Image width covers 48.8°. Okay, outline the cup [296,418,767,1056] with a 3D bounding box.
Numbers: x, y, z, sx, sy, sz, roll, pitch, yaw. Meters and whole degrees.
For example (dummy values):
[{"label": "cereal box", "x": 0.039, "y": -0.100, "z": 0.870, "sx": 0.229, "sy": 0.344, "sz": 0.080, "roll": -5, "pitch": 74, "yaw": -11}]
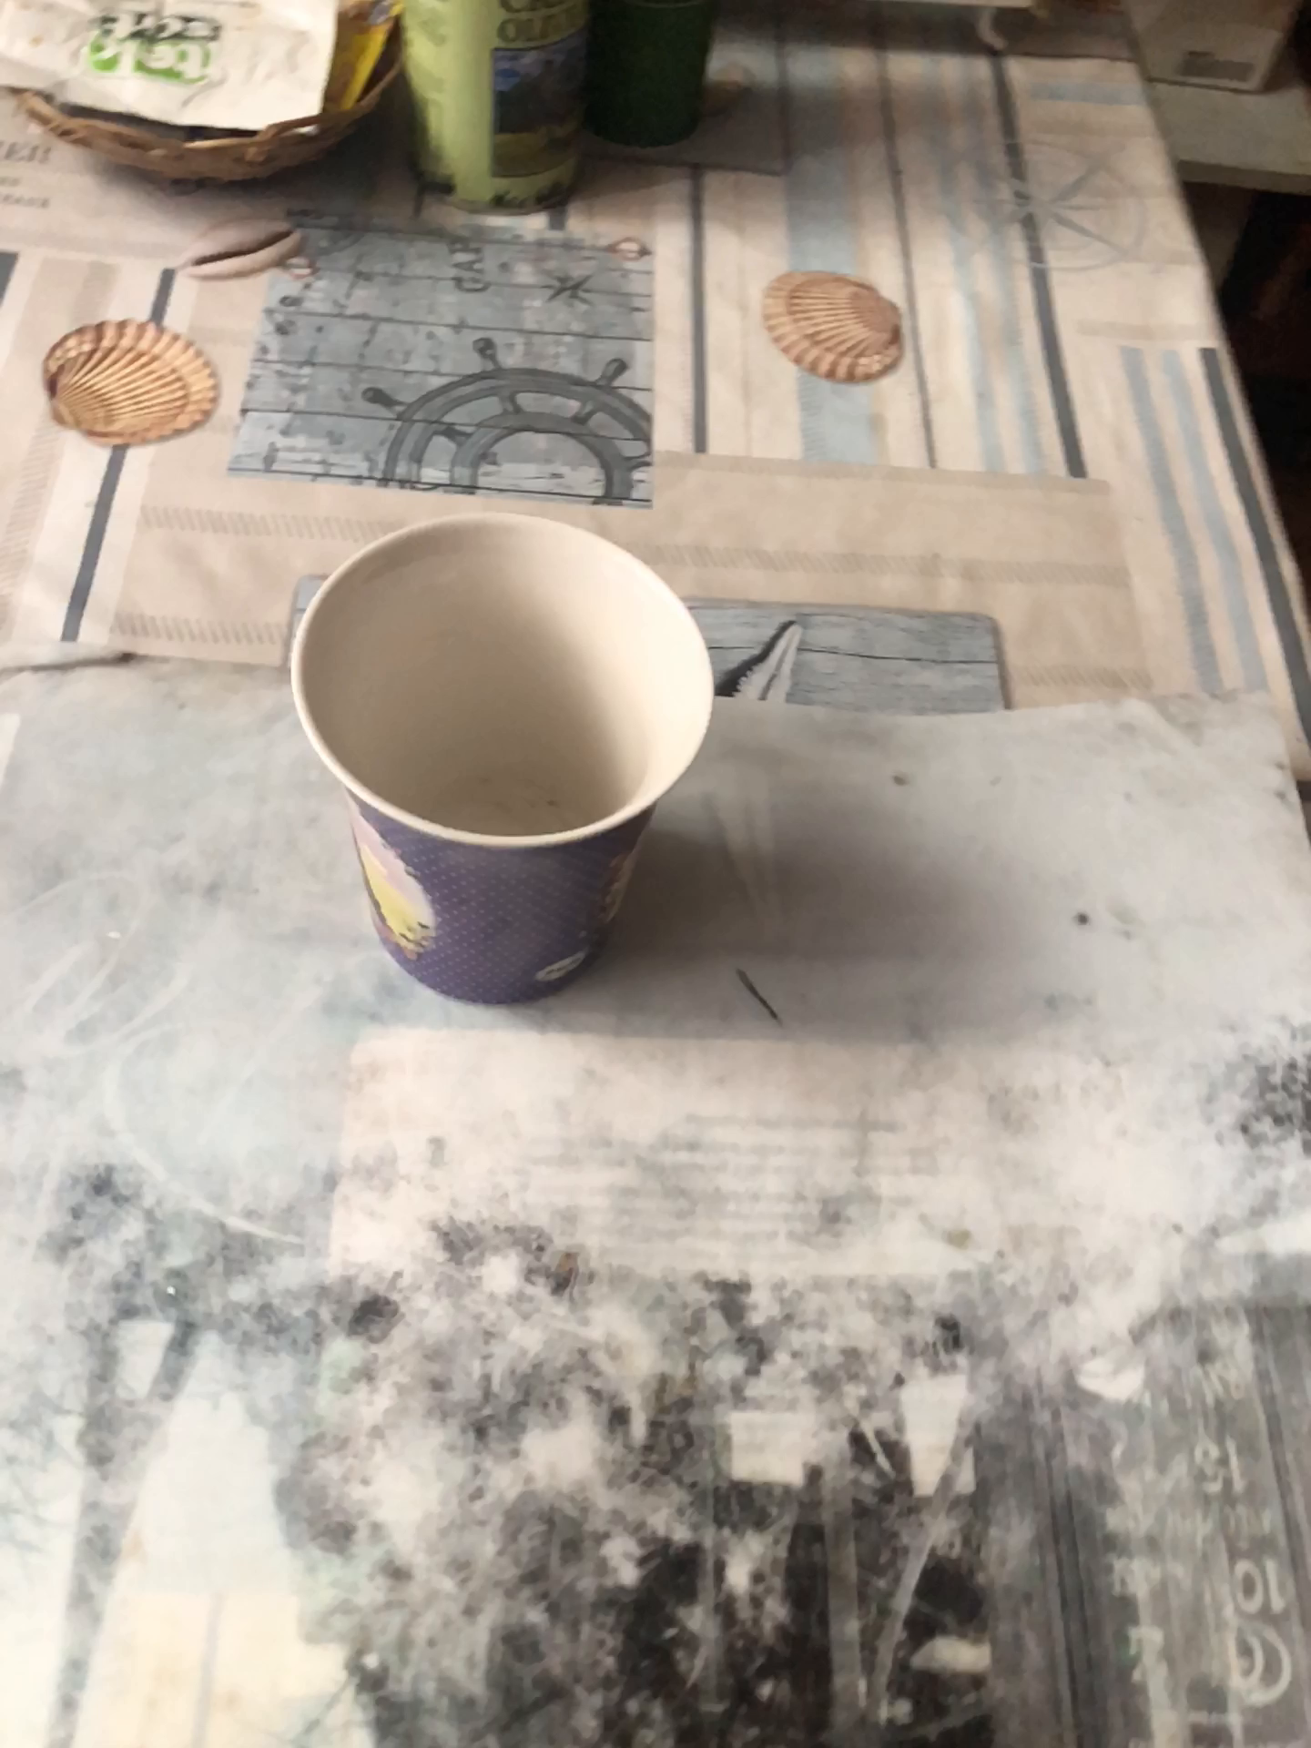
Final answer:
[{"label": "cup", "x": -0.034, "y": -0.033, "z": 0.344, "sx": 0.090, "sy": 0.085, "sz": 0.120, "roll": -4, "pitch": 60, "yaw": -9}]
